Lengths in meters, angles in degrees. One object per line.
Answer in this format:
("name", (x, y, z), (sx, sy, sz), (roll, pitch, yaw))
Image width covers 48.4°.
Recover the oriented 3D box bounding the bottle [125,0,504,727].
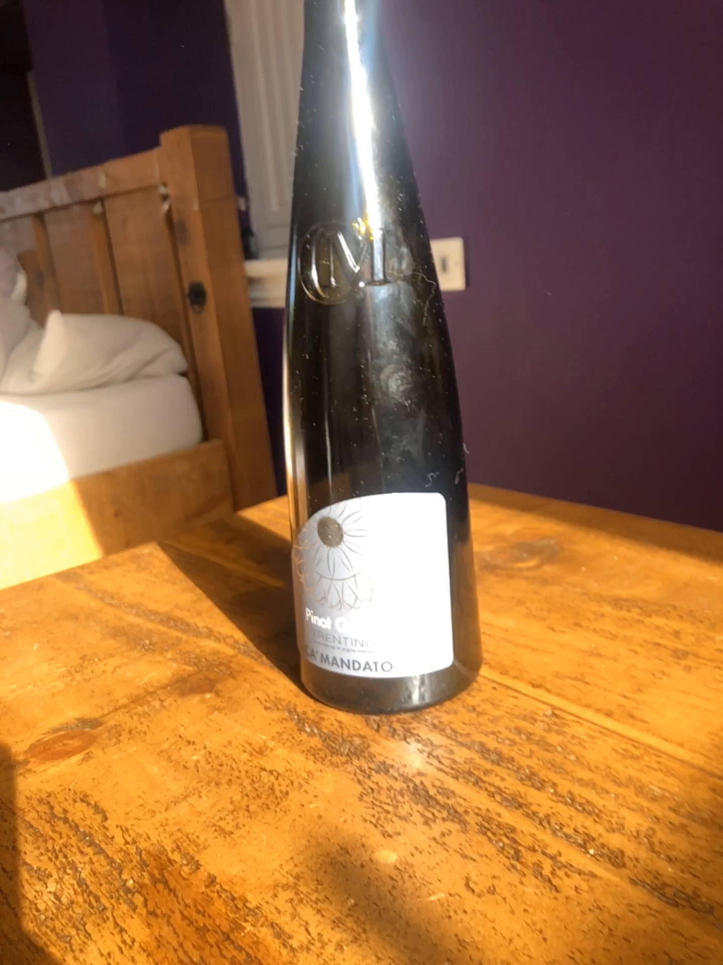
("bottle", (-0.004, -0.077, 0.352), (0.100, 0.338, 0.101), (-5, 15, 1))
